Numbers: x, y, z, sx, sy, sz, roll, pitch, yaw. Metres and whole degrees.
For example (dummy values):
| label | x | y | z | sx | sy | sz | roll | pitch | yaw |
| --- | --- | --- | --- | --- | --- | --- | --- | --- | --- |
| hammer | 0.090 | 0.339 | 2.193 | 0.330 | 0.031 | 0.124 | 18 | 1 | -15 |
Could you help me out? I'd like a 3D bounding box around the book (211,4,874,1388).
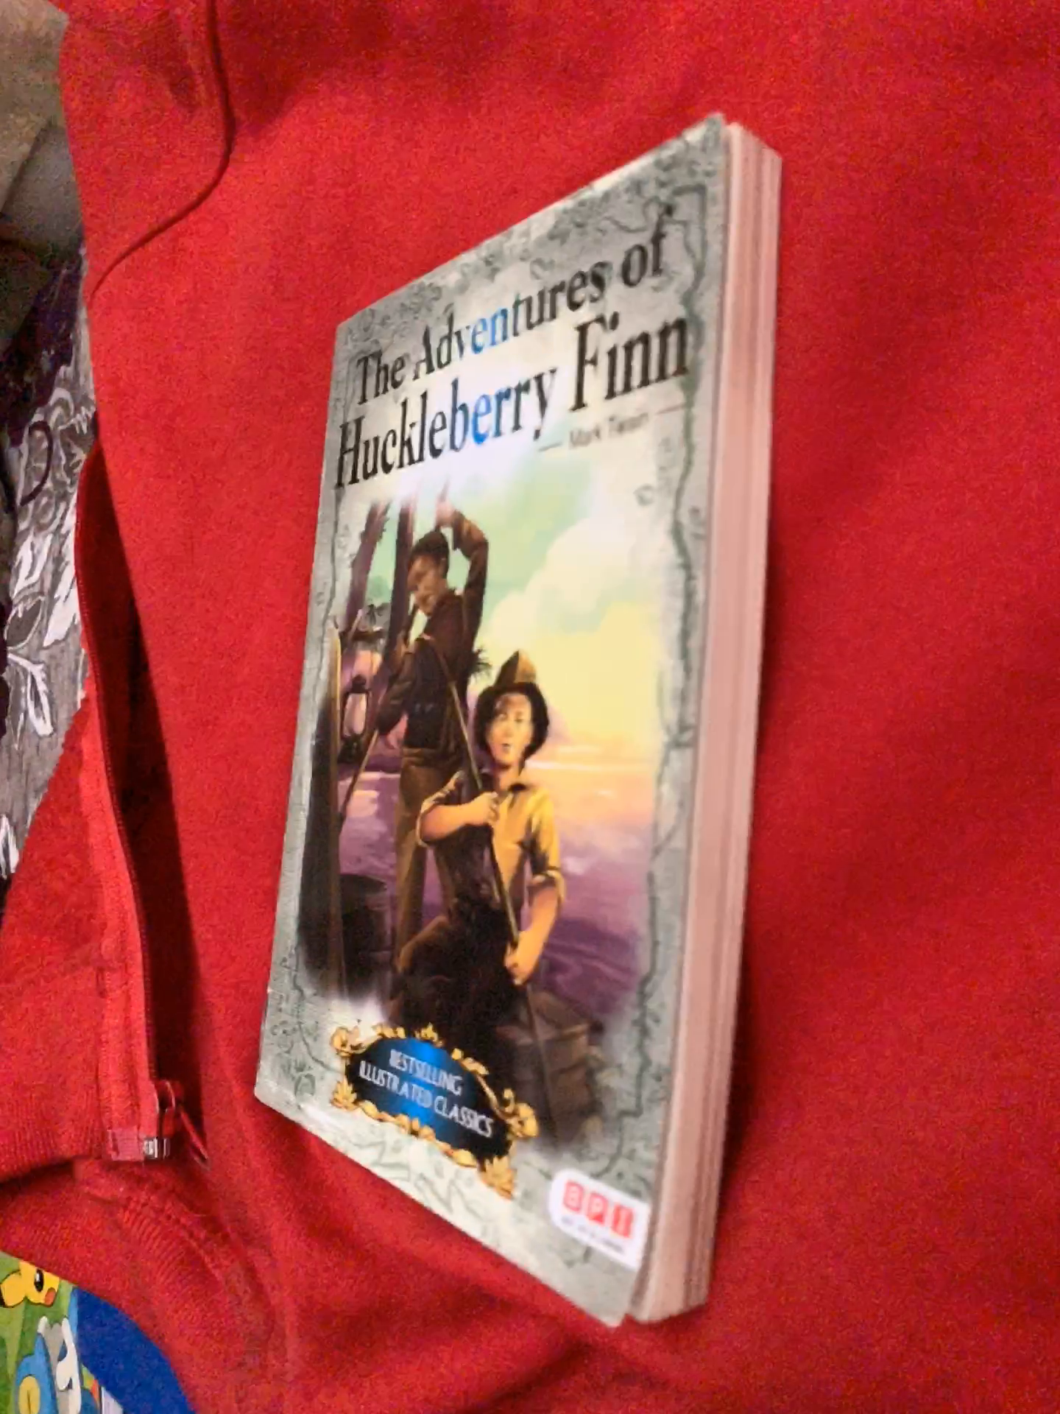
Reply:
| label | x | y | z | sx | sy | sz | roll | pitch | yaw |
| --- | --- | --- | --- | --- | --- | --- | --- | --- | --- |
| book | -0.008 | -0.005 | 0.198 | 0.131 | 0.020 | 0.180 | 0 | 82 | 50 |
